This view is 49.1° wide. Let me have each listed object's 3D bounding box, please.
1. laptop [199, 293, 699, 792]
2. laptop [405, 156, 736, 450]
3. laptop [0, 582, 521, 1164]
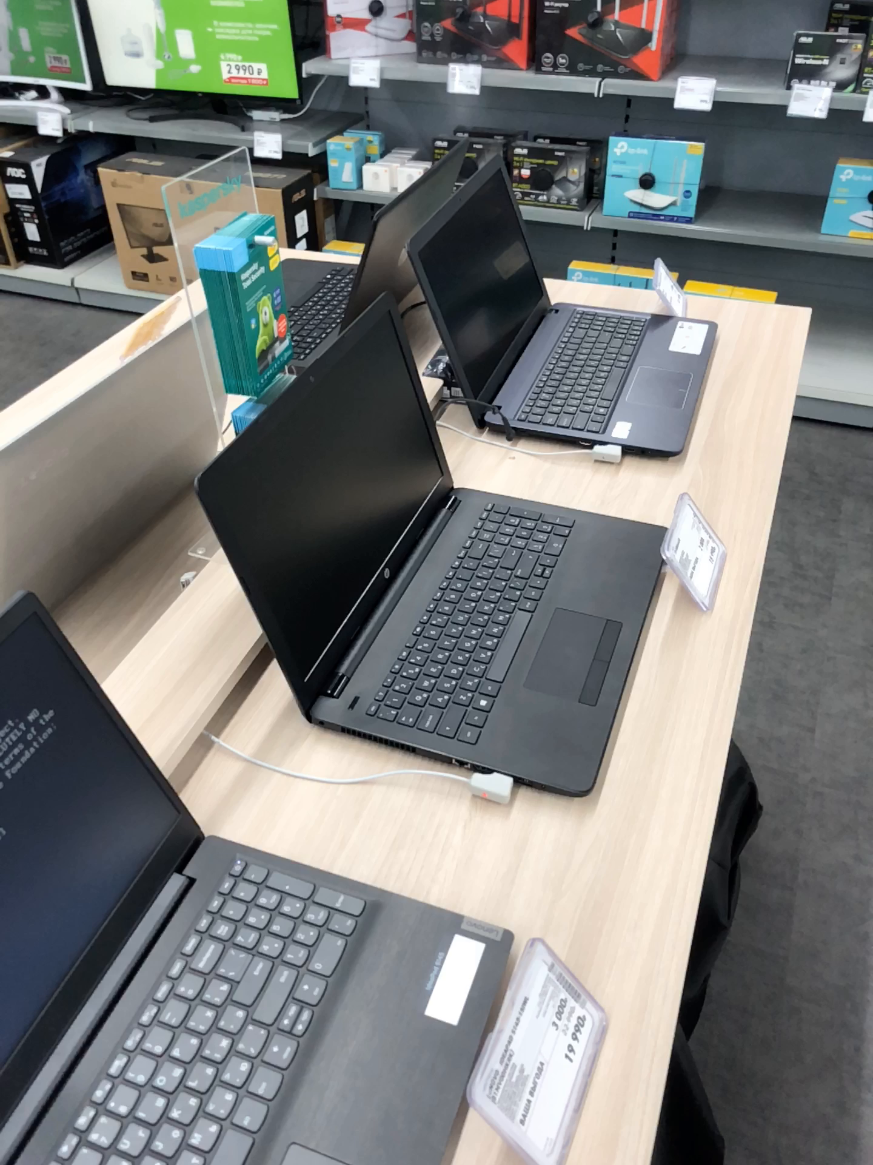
[{"bbox_3d":[0.037,-0.064,0.853,0.311,0.216,0.368,12,40,15],"label":"laptop"},{"bbox_3d":[0.186,-0.380,1.243,0.333,0.209,0.371,12,40,13],"label":"laptop"},{"bbox_3d":[-0.156,0.220,0.499,0.327,0.213,0.333,12,40,15],"label":"laptop"}]
